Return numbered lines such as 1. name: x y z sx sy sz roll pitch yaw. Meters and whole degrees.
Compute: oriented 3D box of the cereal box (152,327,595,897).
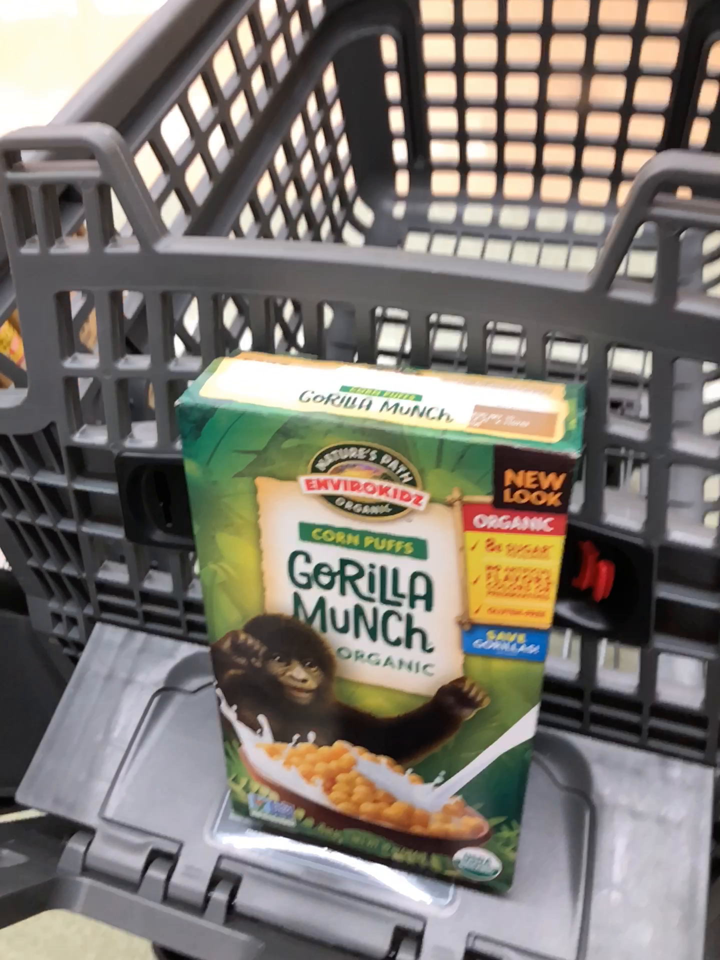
1. cereal box: 0.009 0.070 0.382 0.160 0.260 0.070 9 34 15
